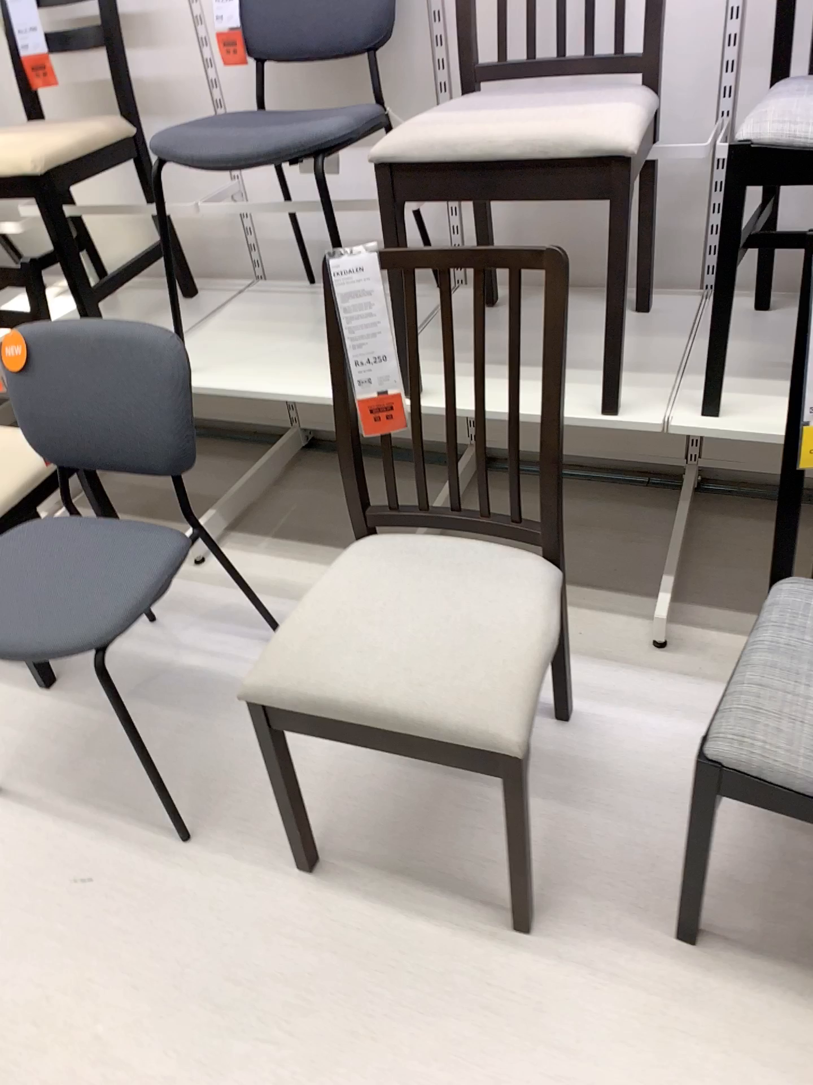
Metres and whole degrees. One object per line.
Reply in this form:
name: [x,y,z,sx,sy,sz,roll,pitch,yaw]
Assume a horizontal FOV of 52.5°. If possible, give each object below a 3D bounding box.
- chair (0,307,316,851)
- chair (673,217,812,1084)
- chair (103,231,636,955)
chair: [-0.627,0.048,1.595,0.571,0.786,0.612,5,39,18]
chair: [0.680,0.142,1.058,0.481,0.916,0.531,12,42,26]
chair: [0.050,0.081,1.263,0.481,0.916,0.532,7,40,21]
